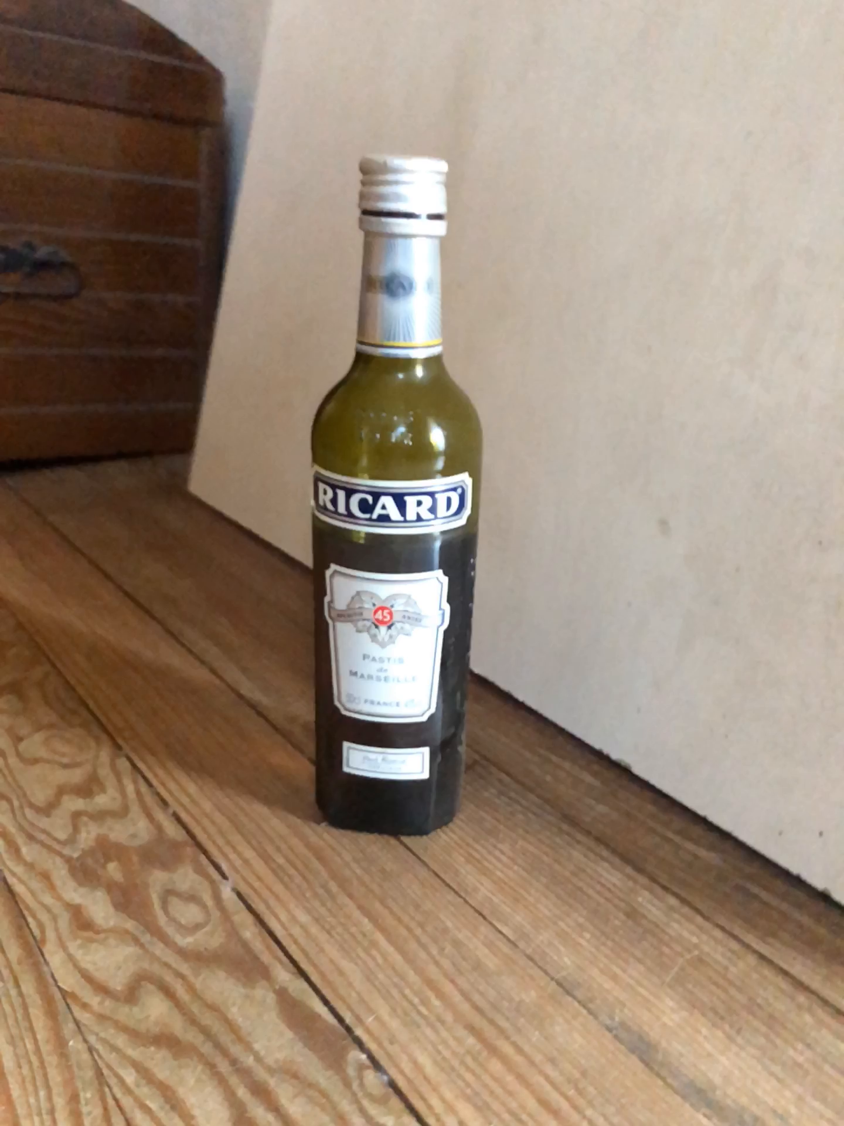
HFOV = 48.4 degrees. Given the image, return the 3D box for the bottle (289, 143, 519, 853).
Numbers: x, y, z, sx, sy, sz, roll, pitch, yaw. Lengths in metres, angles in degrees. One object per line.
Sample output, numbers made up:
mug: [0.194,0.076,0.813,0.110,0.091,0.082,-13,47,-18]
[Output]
bottle: [-0.007,-0.017,0.360,0.070,0.259,0.060,4,22,4]
